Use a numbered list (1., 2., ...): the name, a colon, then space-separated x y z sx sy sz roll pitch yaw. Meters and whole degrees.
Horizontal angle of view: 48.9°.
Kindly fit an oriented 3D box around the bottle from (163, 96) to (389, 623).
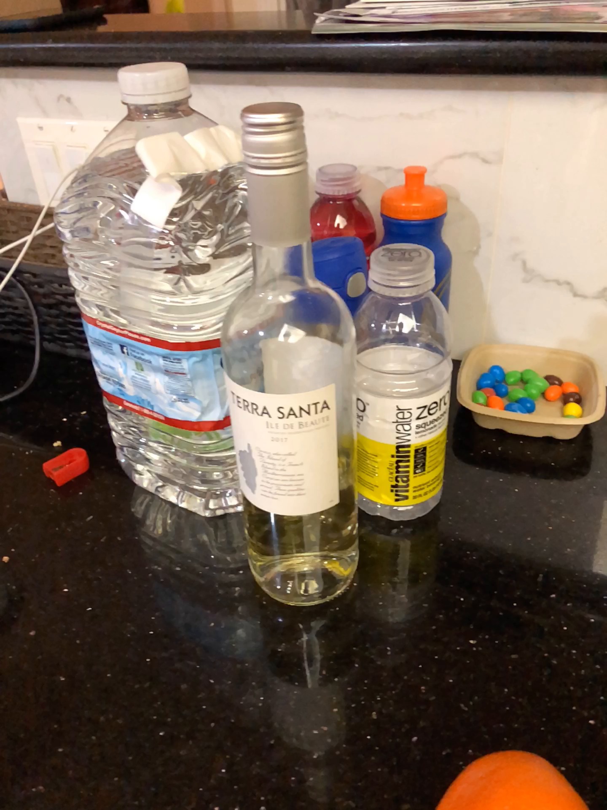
1. bottle: -0.003 -0.010 0.353 0.070 0.268 0.070 -2 34 1

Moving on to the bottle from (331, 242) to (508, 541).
1. bottle: 0.067 -0.007 0.416 0.070 0.159 0.070 -2 34 2

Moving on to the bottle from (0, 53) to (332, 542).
1. bottle: -0.074 -0.073 0.457 0.130 0.278 0.141 -2 34 2
